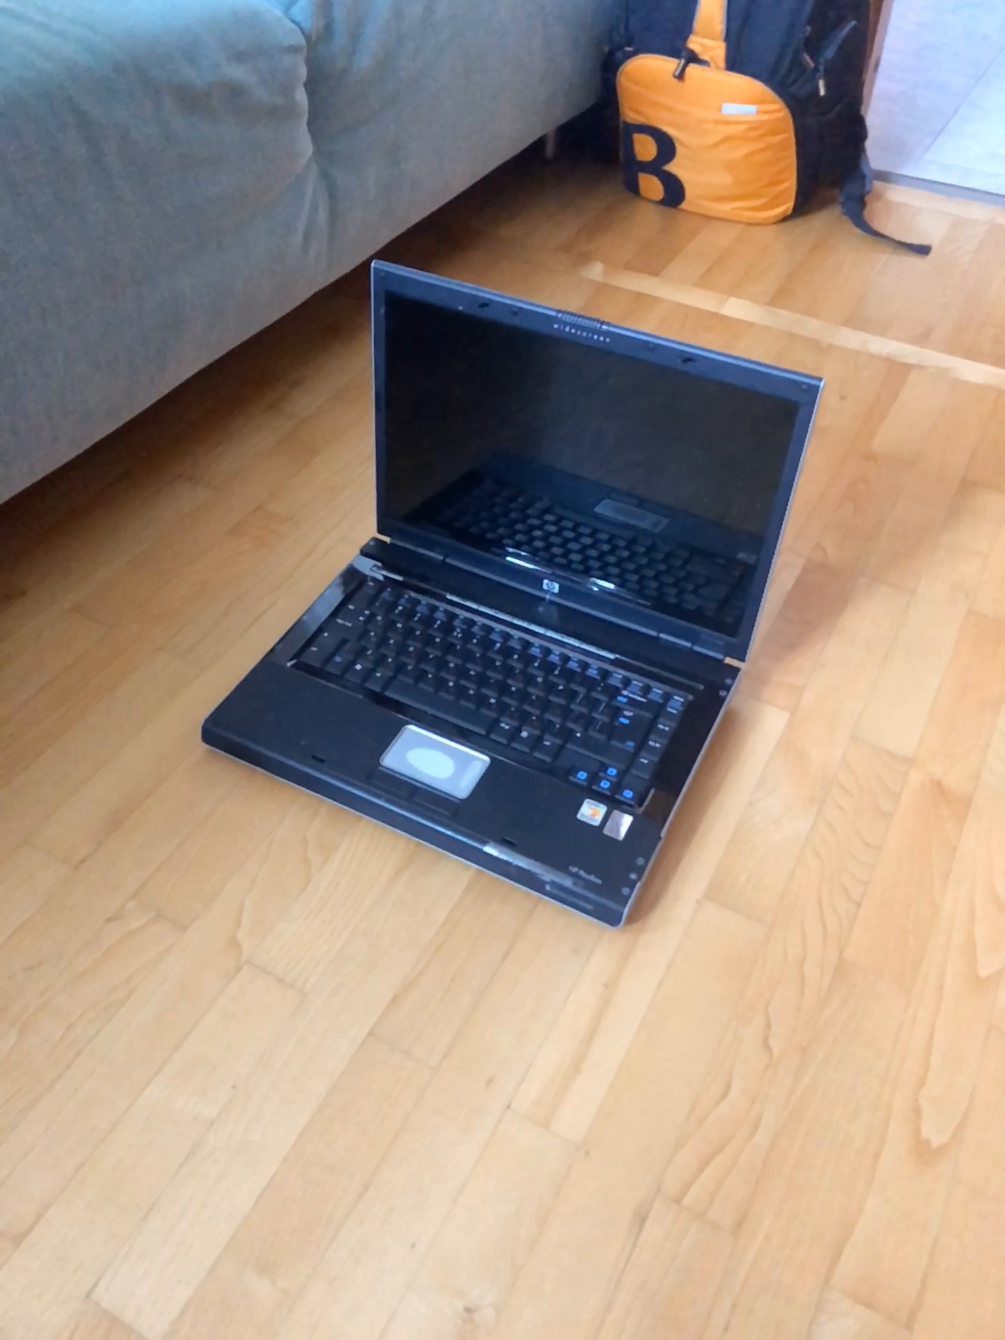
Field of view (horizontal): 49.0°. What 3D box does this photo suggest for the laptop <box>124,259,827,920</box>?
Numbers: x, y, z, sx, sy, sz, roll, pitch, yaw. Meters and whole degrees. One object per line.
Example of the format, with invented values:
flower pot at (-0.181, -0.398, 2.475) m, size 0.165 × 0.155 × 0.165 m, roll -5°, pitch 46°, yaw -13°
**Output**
laptop at (-0.009, -0.077, 0.820) m, size 0.363 × 0.254 × 0.307 m, roll 21°, pitch 50°, yaw 18°
